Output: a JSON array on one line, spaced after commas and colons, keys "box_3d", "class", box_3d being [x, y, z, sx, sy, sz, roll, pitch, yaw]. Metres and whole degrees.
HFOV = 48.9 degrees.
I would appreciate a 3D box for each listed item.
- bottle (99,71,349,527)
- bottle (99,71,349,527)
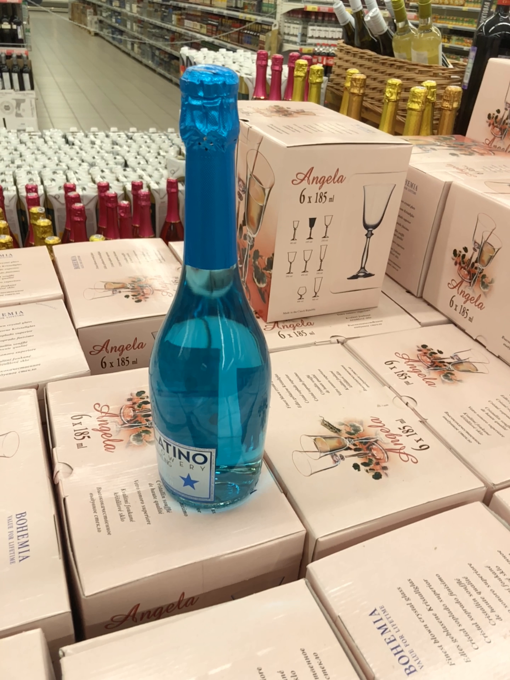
[{"box_3d": [-0.028, -0.024, 0.383, 0.100, 0.278, 0.100, 3, 31, -2], "class": "bottle"}, {"box_3d": [-0.028, -0.024, 0.383, 0.100, 0.278, 0.100, 3, 31, -2], "class": "bottle"}]
